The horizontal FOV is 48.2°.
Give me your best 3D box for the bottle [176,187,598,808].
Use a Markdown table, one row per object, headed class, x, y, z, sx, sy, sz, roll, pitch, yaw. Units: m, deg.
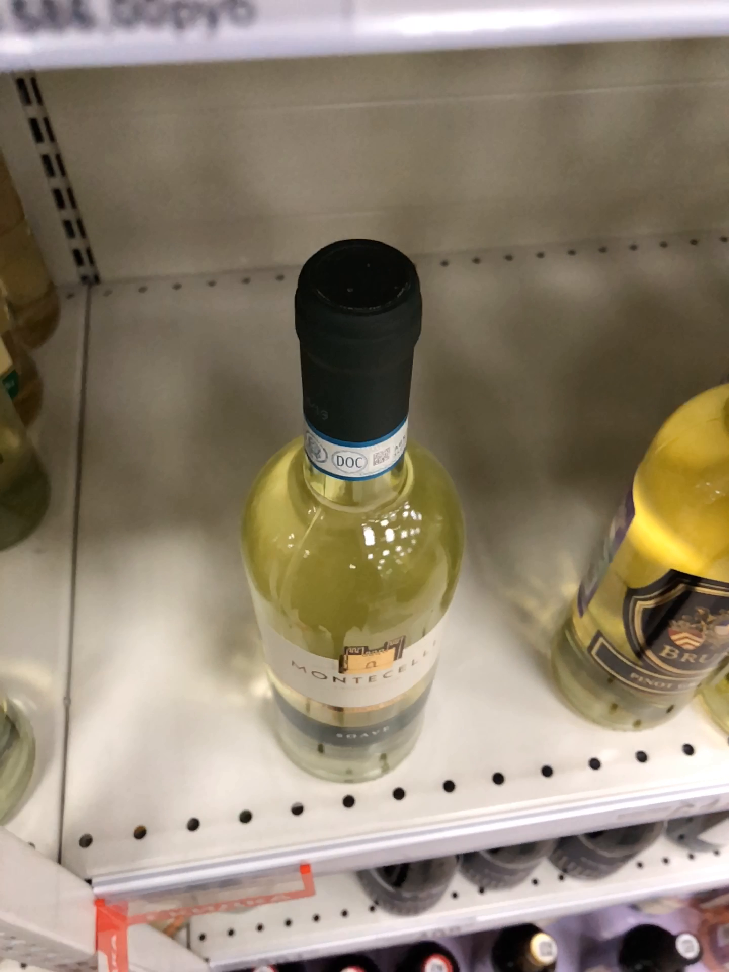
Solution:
| class | x | y | z | sx | sy | sz | roll | pitch | yaw |
| --- | --- | --- | --- | --- | --- | --- | --- | --- | --- |
| bottle | -0.002 | 0.039 | 0.298 | 0.080 | 0.284 | 0.070 | -9 | 56 | -8 |
